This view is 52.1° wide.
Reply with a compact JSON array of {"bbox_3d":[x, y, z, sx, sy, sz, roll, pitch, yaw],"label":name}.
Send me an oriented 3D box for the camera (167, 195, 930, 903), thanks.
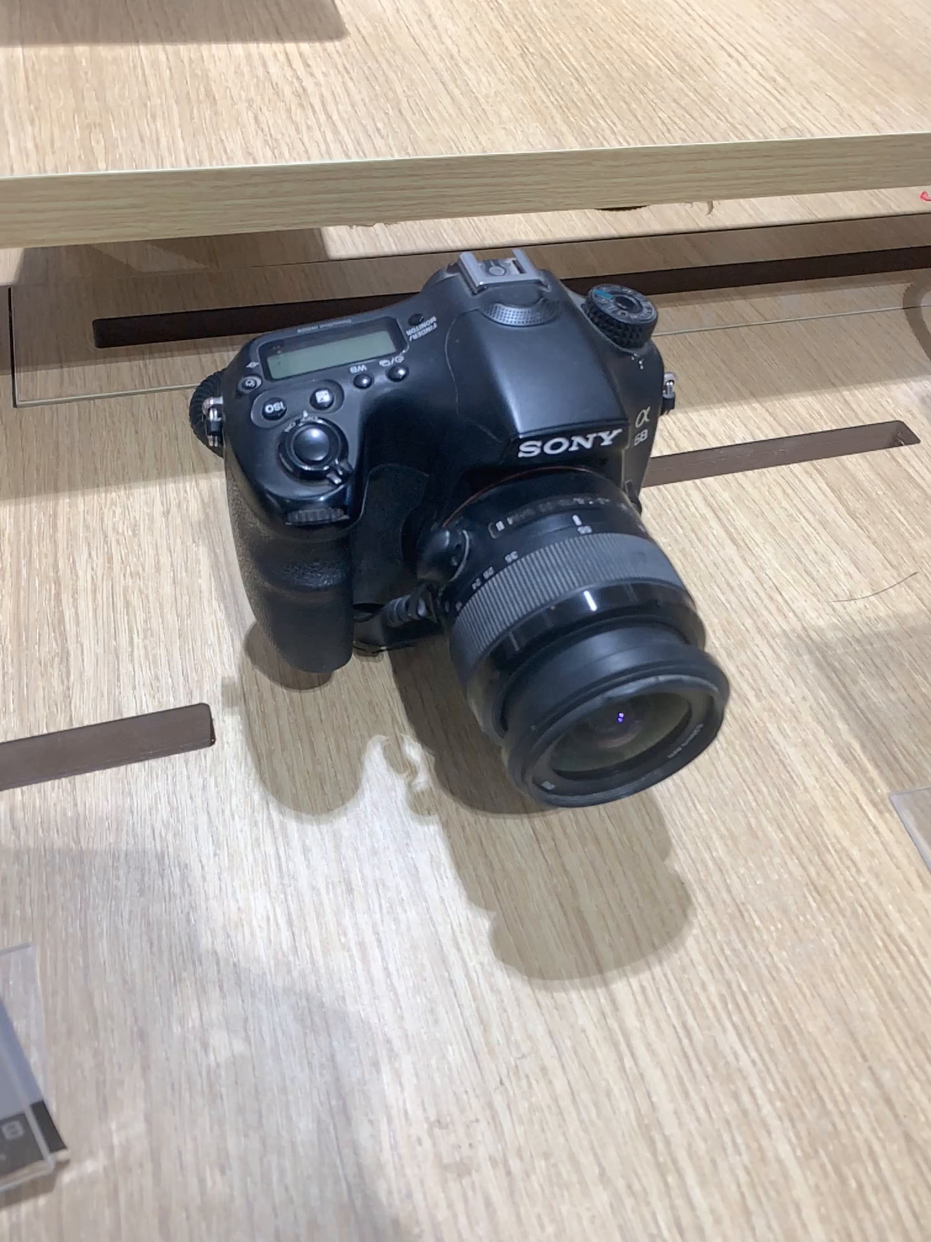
[{"bbox_3d":[0.010,-0.030,0.270,0.150,0.100,0.150,-11,53,-16],"label":"camera"}]
